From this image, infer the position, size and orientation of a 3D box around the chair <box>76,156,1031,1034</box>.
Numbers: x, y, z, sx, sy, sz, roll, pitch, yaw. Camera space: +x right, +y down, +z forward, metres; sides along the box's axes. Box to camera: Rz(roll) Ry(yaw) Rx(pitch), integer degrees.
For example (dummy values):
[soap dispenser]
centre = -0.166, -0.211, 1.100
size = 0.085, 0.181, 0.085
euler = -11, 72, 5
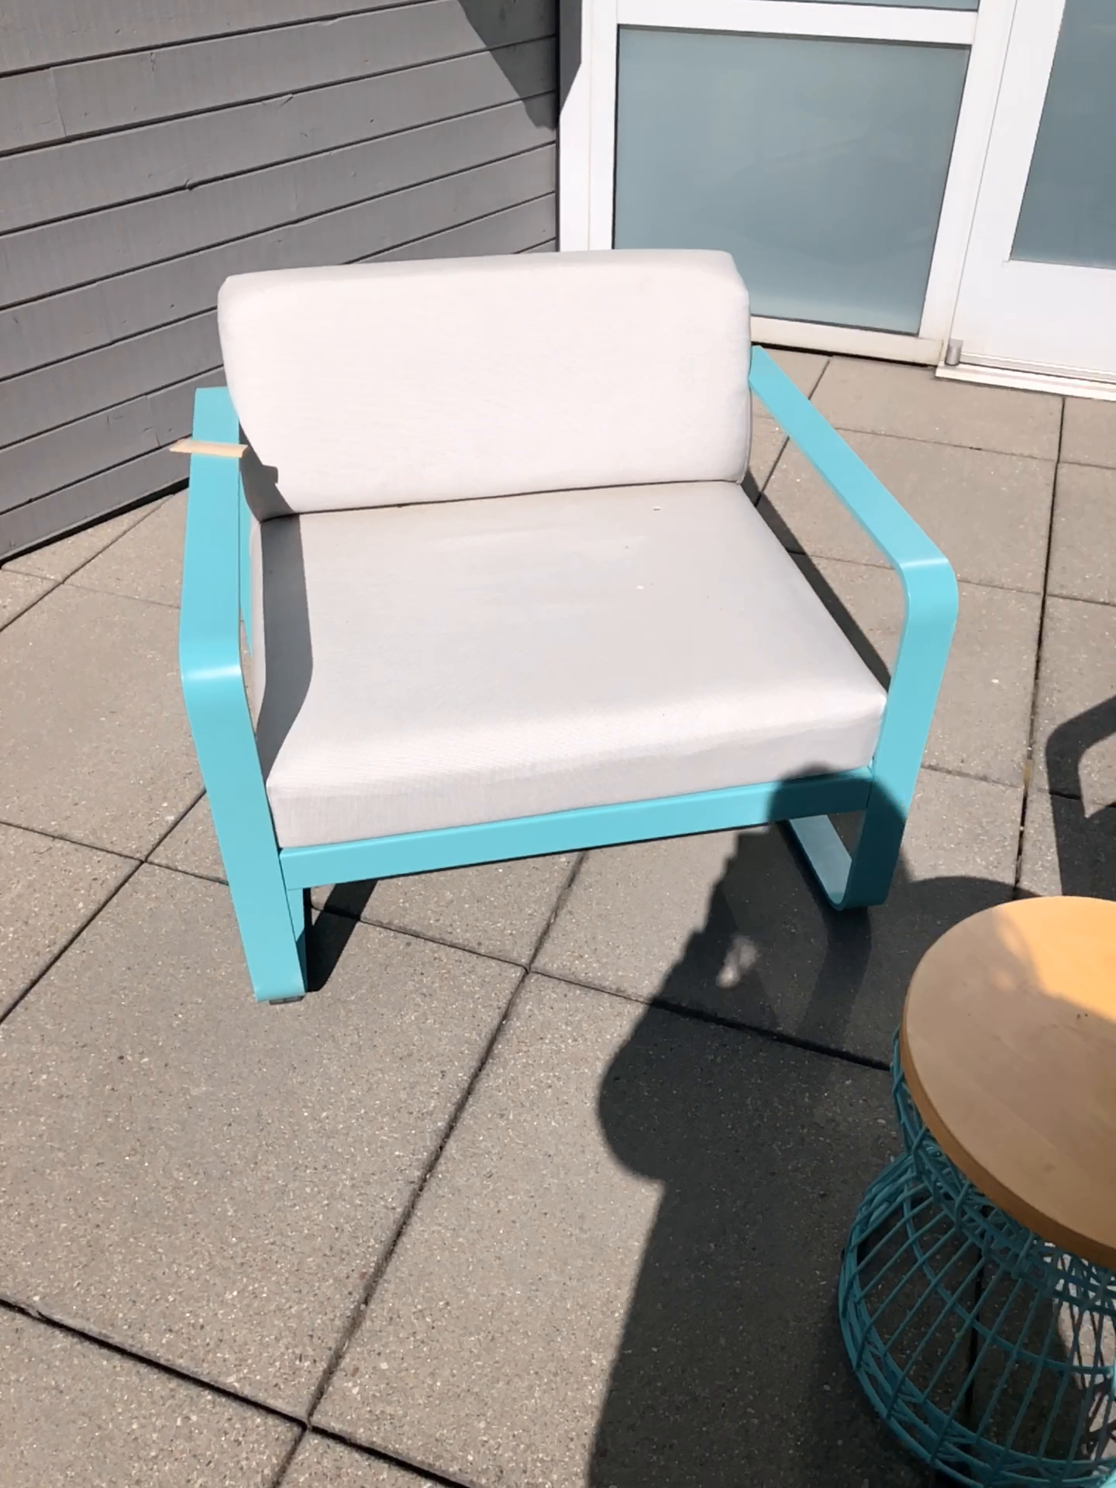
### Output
[chair]
centre = -0.069, -0.270, 1.701
size = 0.900, 0.766, 0.875
euler = -8, 39, -10
